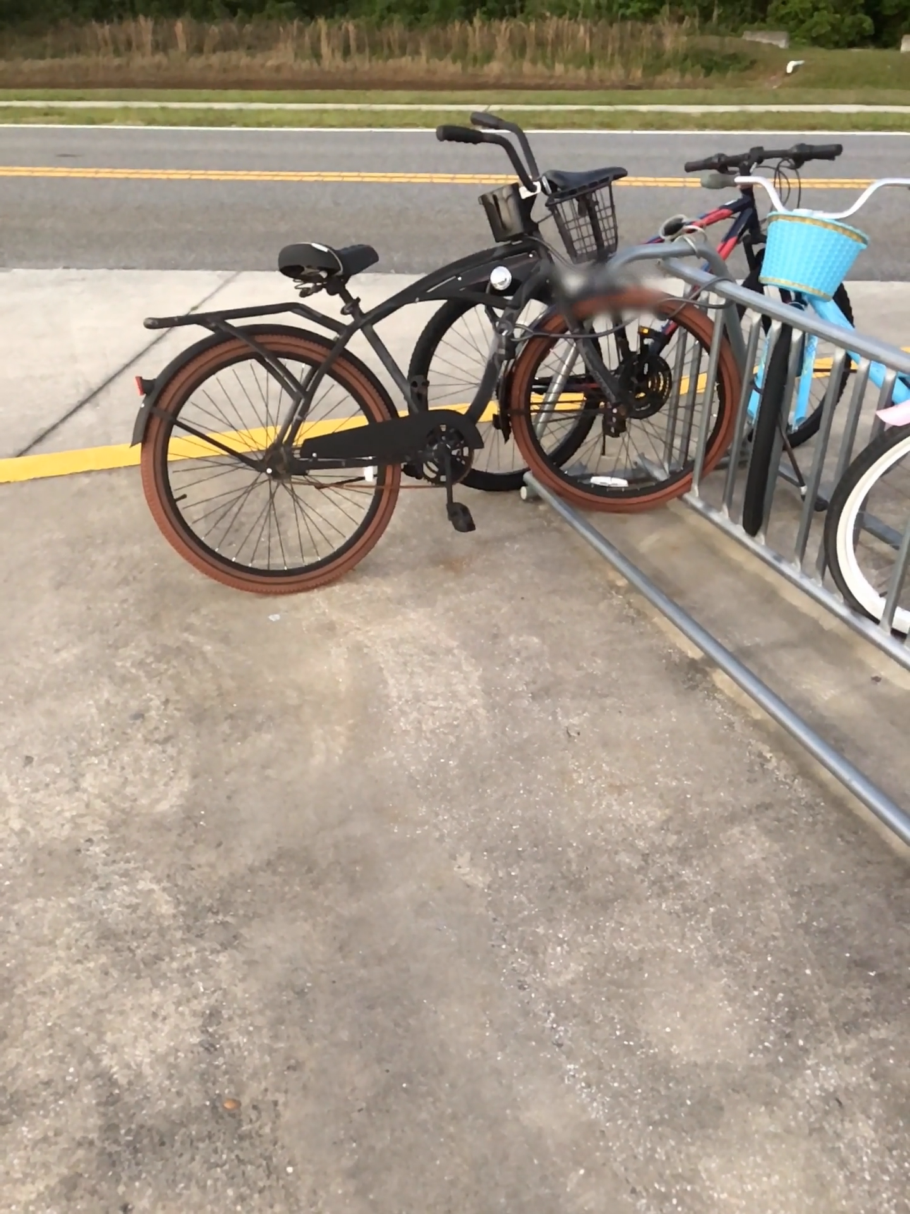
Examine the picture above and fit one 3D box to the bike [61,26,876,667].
[{"bbox_3d":[-0.005,-0.784,2.695,1.721,1.117,0.833,-17,34,-16],"label":"bike"}]
